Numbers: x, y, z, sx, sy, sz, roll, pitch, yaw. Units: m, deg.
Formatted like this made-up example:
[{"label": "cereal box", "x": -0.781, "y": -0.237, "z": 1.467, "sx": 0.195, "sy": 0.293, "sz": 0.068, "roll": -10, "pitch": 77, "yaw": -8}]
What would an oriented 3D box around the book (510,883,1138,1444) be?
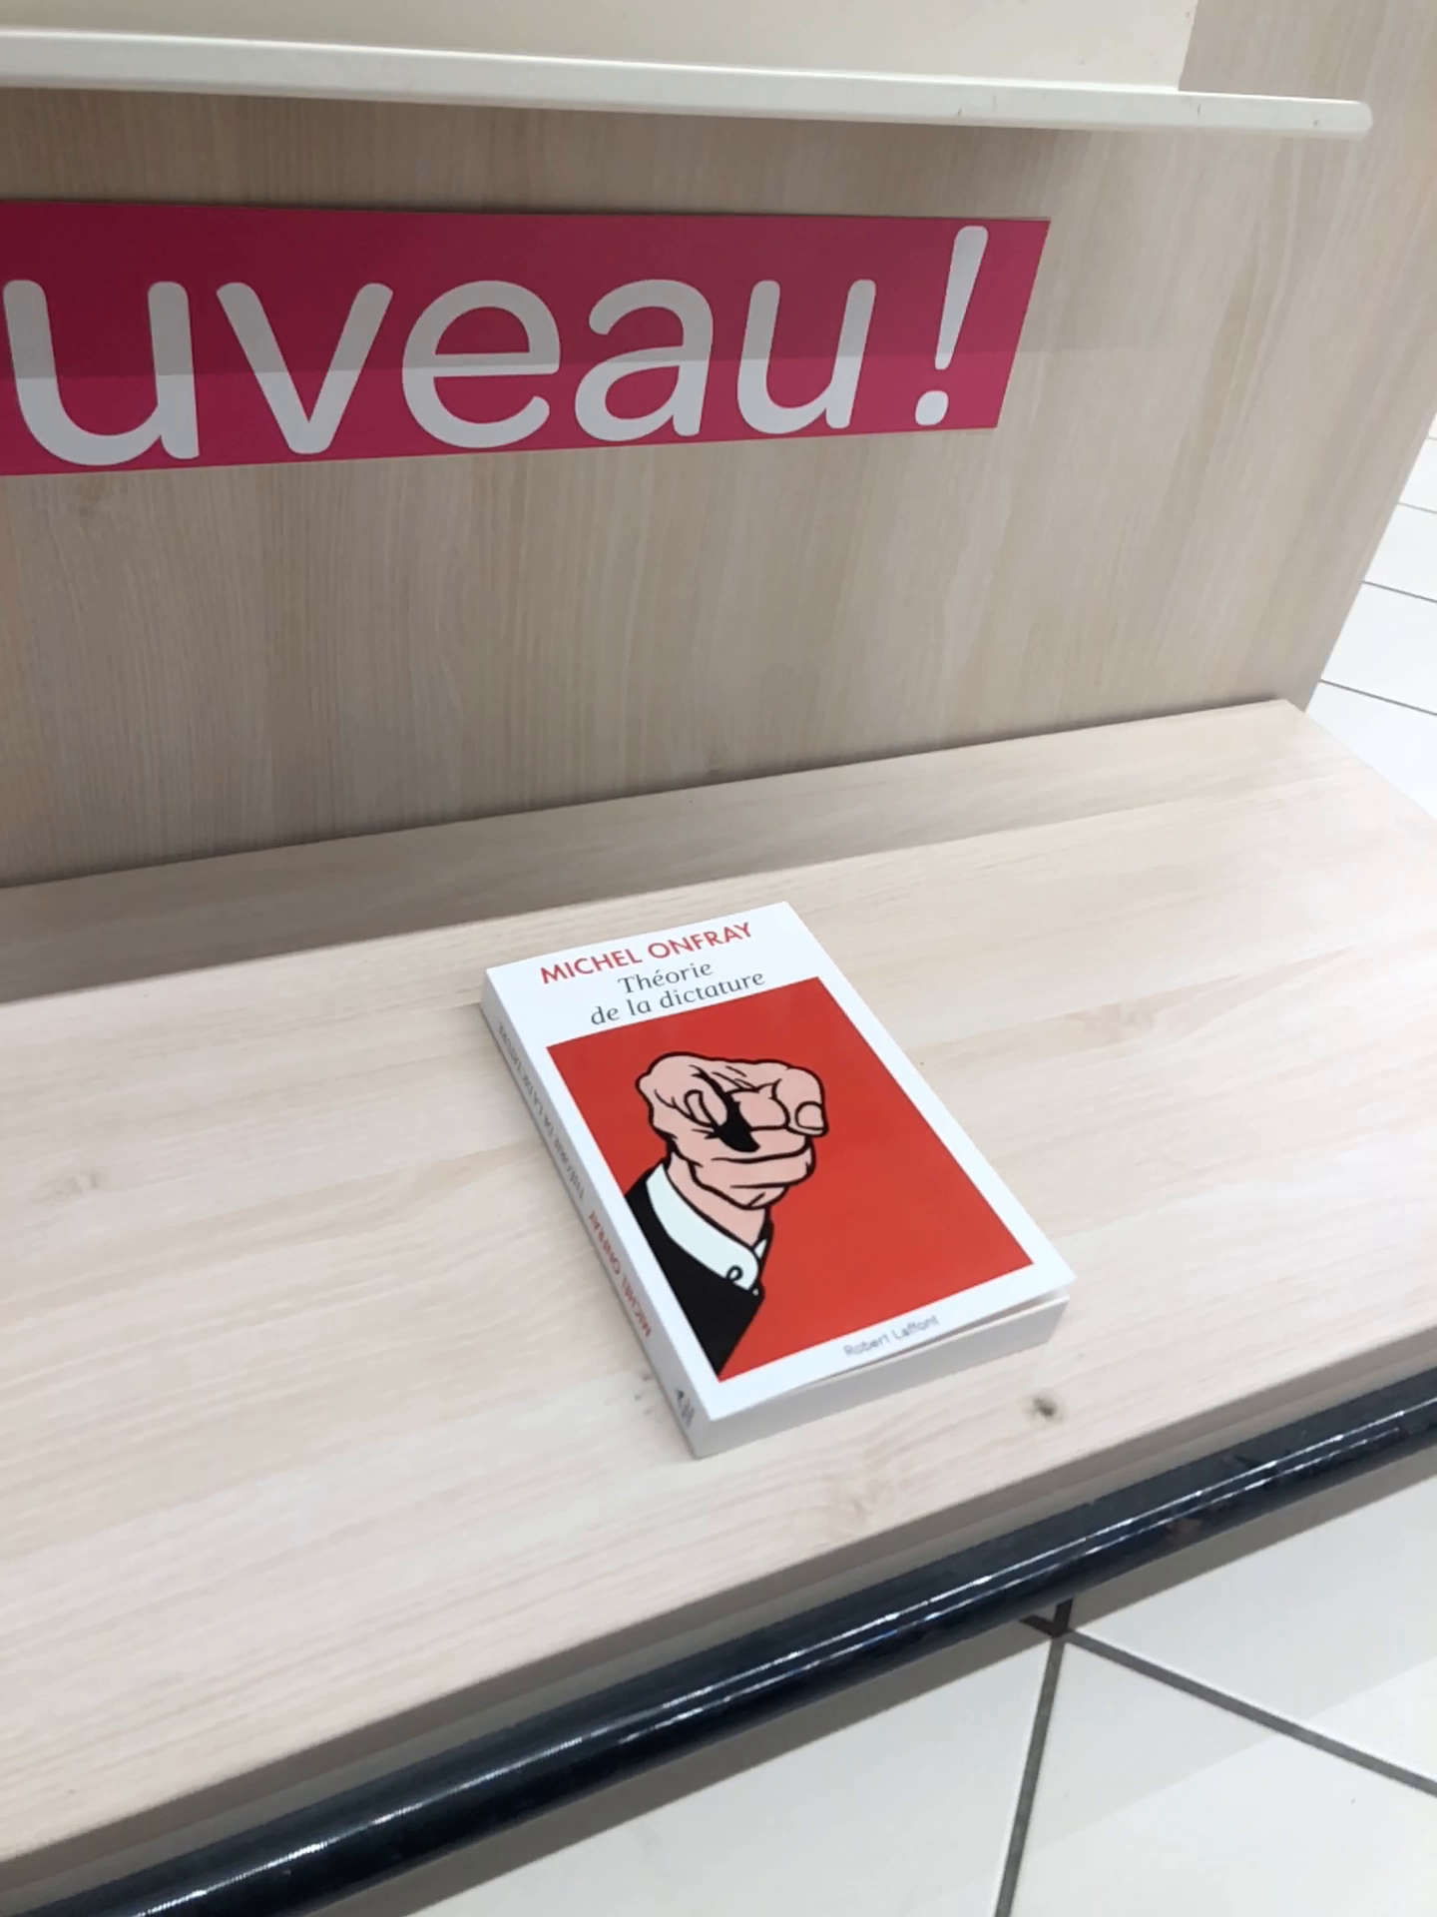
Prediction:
[{"label": "book", "x": 0.027, "y": 0.056, "z": 0.555, "sx": 0.139, "sy": 0.029, "sz": 0.207, "roll": -11, "pitch": 43, "yaw": -24}]
